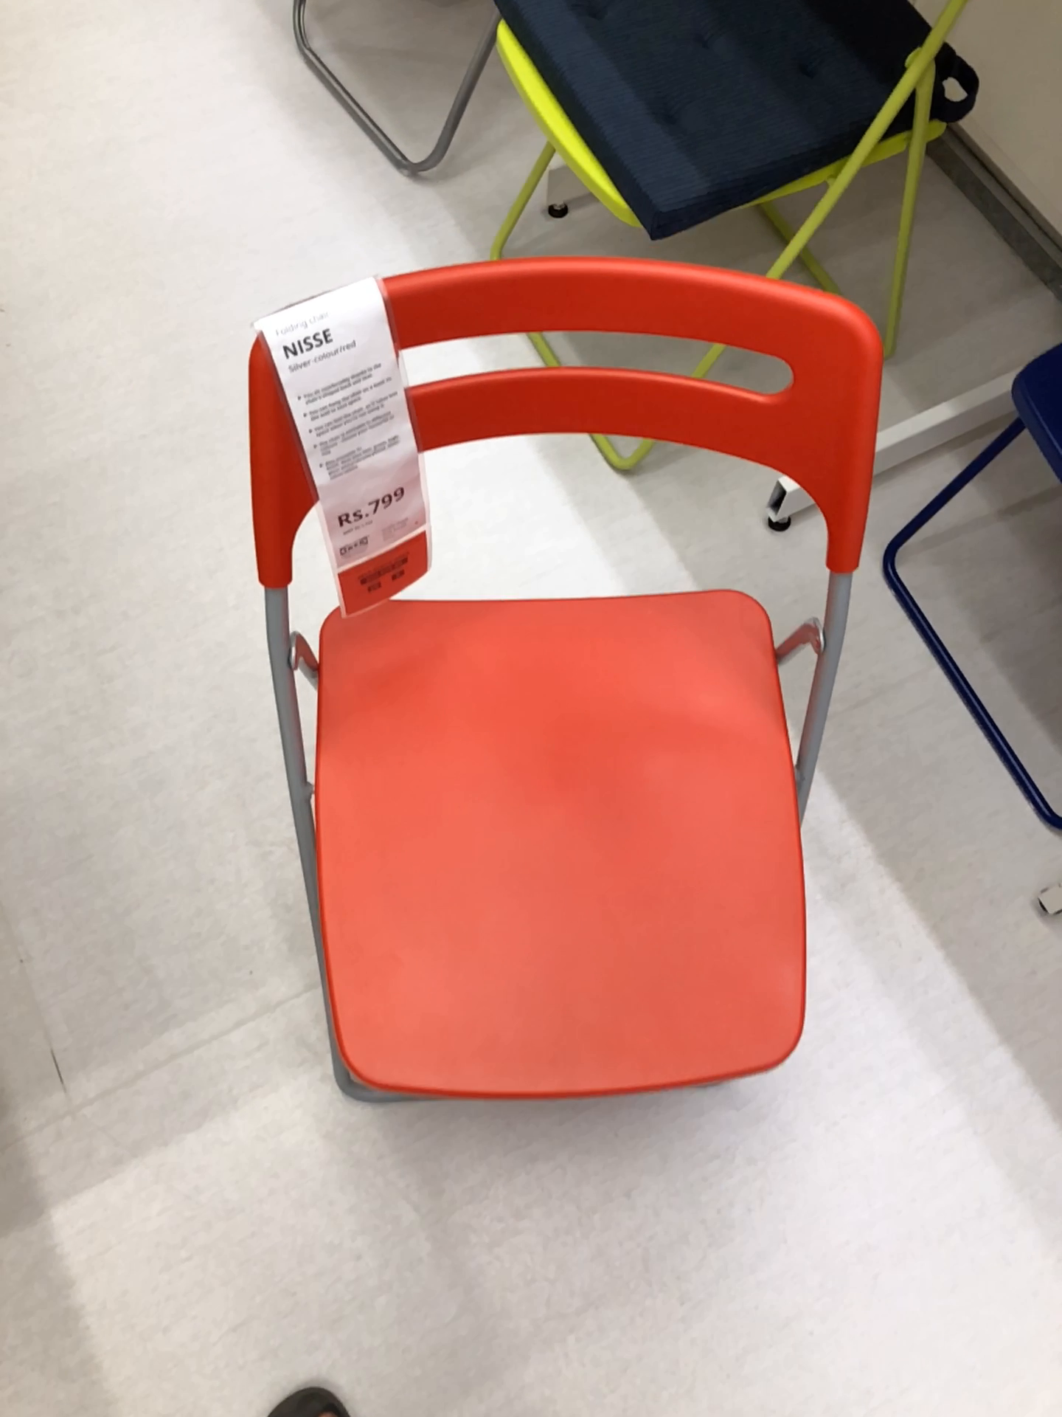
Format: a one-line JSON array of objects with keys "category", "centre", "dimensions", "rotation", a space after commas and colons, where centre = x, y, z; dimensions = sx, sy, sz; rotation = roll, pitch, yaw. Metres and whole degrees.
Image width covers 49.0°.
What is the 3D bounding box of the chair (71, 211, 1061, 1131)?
[{"category": "chair", "centre": [0.015, 0.055, 0.867], "dimensions": [0.440, 0.678, 0.422], "rotation": [-2, 66, -3]}]
